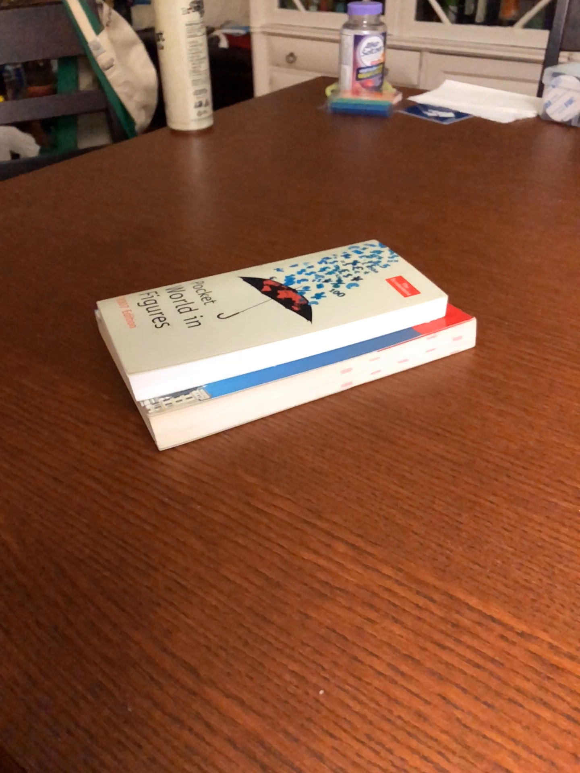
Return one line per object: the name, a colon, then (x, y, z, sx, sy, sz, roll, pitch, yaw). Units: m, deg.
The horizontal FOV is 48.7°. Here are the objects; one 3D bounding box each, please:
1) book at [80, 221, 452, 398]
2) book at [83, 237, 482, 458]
book: (-0.016, -0.055, 0.389, 0.200, 0.020, 0.101, -16, 39, -17)
book: (-0.010, -0.038, 0.407, 0.210, 0.020, 0.141, -17, 39, -19)
